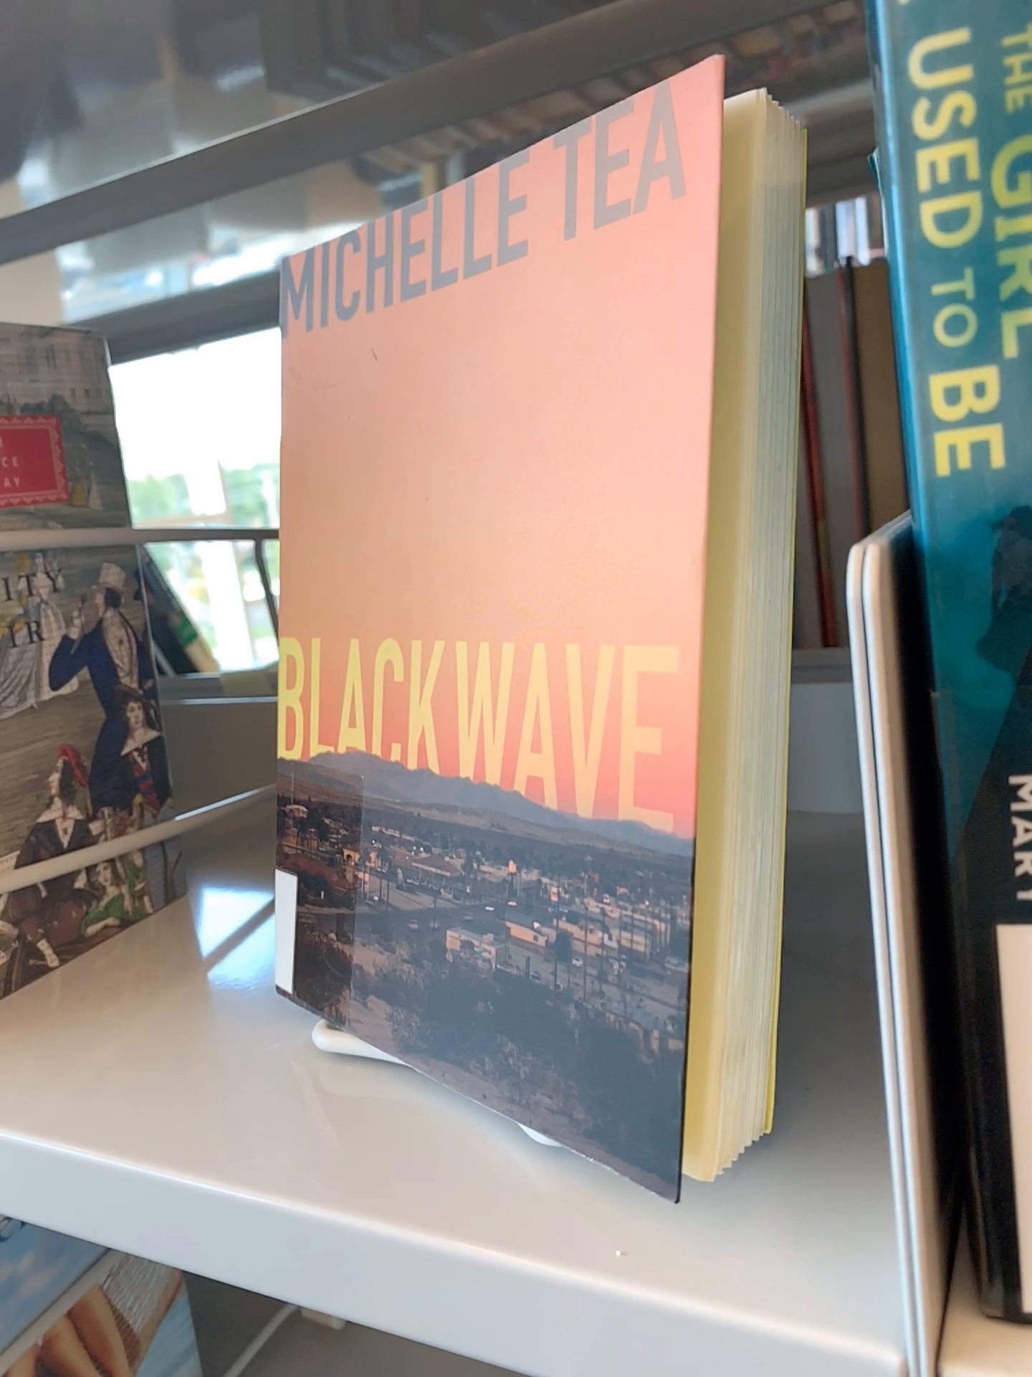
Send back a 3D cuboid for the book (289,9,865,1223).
[{"bbox_3d":[0.001,-0.014,0.245,0.036,0.201,0.147,-2,4,-41],"label":"book"}]
